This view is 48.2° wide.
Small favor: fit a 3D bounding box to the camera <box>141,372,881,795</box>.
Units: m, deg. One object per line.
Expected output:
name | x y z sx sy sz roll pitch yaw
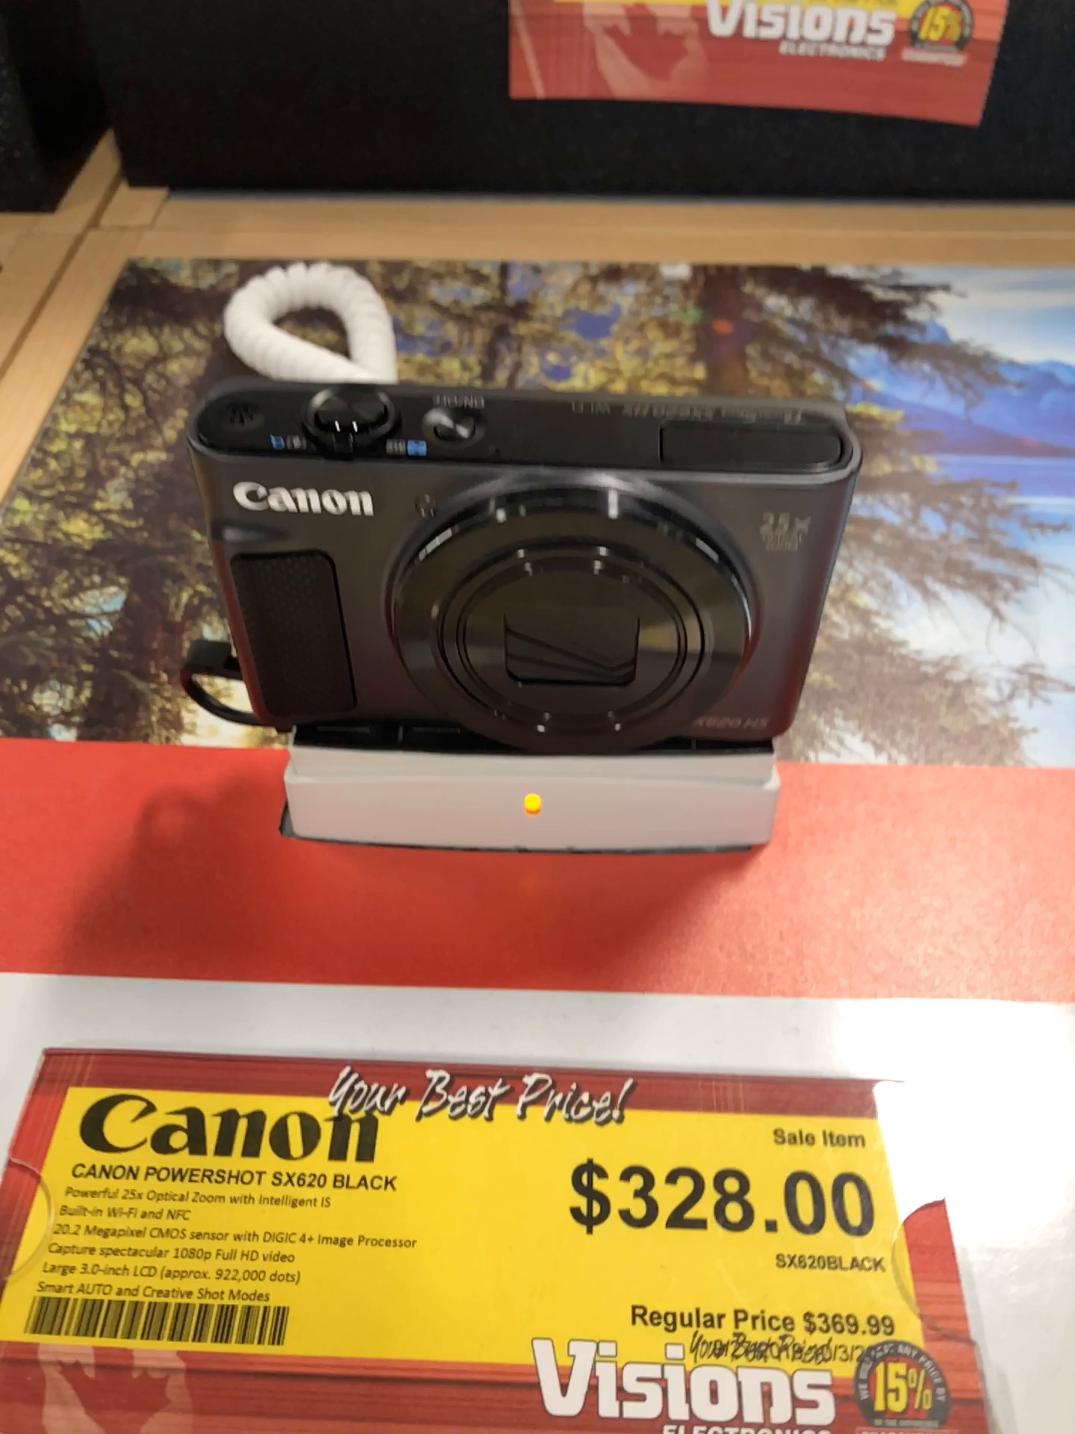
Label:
camera | -0.003 -0.020 0.194 0.100 0.060 0.030 2 48 3
